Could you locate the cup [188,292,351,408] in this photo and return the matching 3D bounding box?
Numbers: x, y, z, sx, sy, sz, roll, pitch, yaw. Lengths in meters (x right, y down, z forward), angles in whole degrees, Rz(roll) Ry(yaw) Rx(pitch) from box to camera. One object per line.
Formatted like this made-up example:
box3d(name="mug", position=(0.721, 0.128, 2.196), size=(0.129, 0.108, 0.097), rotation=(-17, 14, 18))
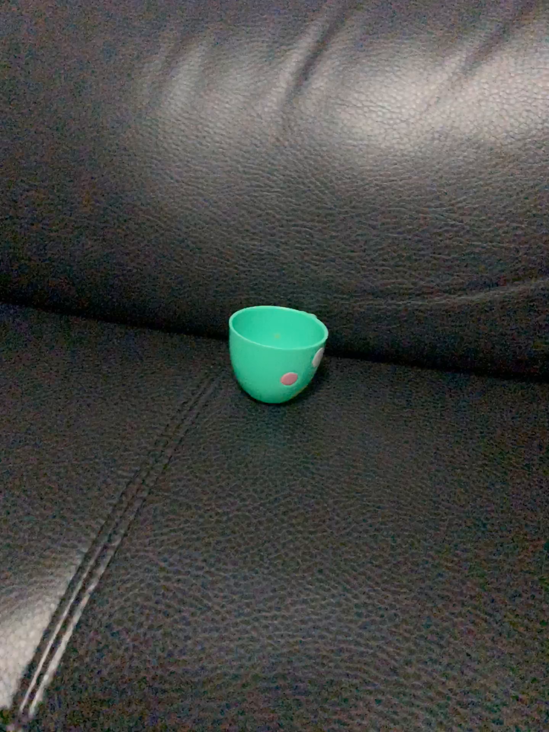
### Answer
box3d(name="cup", position=(-0.002, -0.011, 0.292), size=(0.053, 0.030, 0.063), rotation=(24, 26, 29))
